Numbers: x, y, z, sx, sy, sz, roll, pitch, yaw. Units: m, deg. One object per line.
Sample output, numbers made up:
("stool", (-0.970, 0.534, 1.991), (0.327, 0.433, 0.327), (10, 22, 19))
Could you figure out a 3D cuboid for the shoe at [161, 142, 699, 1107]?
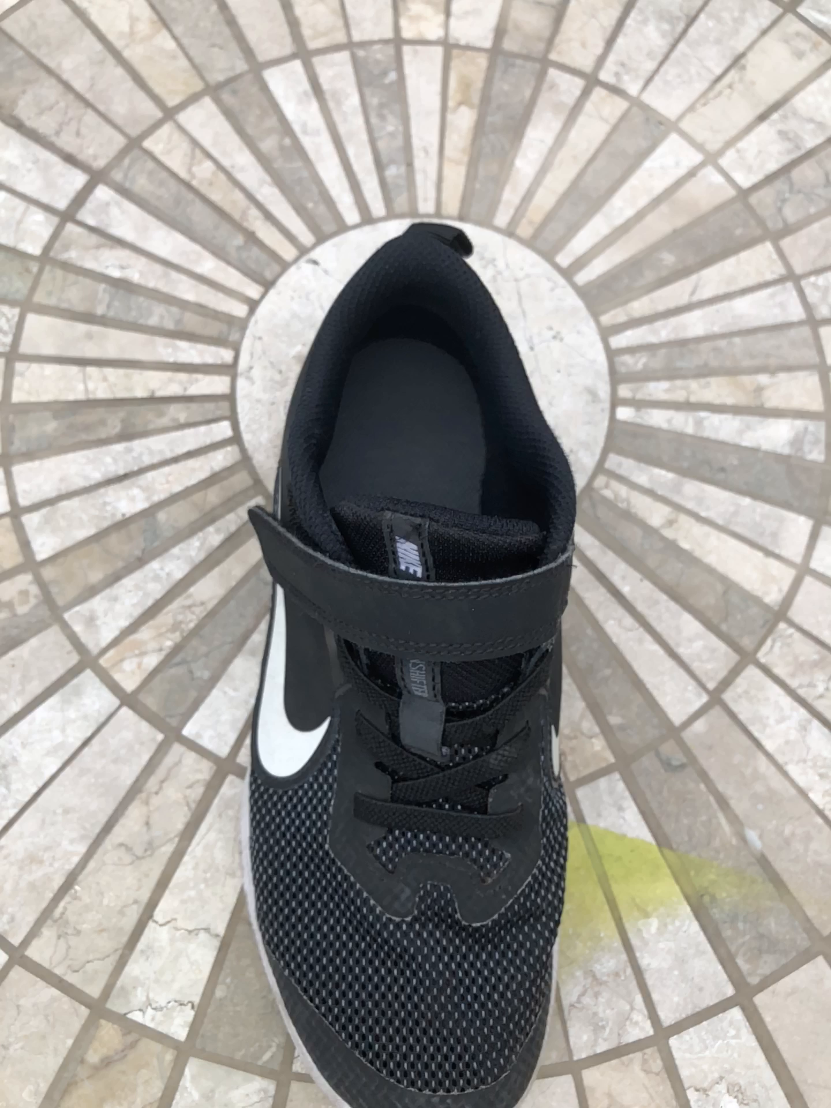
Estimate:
("shoe", (0.000, 0.033, 0.248), (0.100, 0.100, 0.250), (0, 78, -2))
